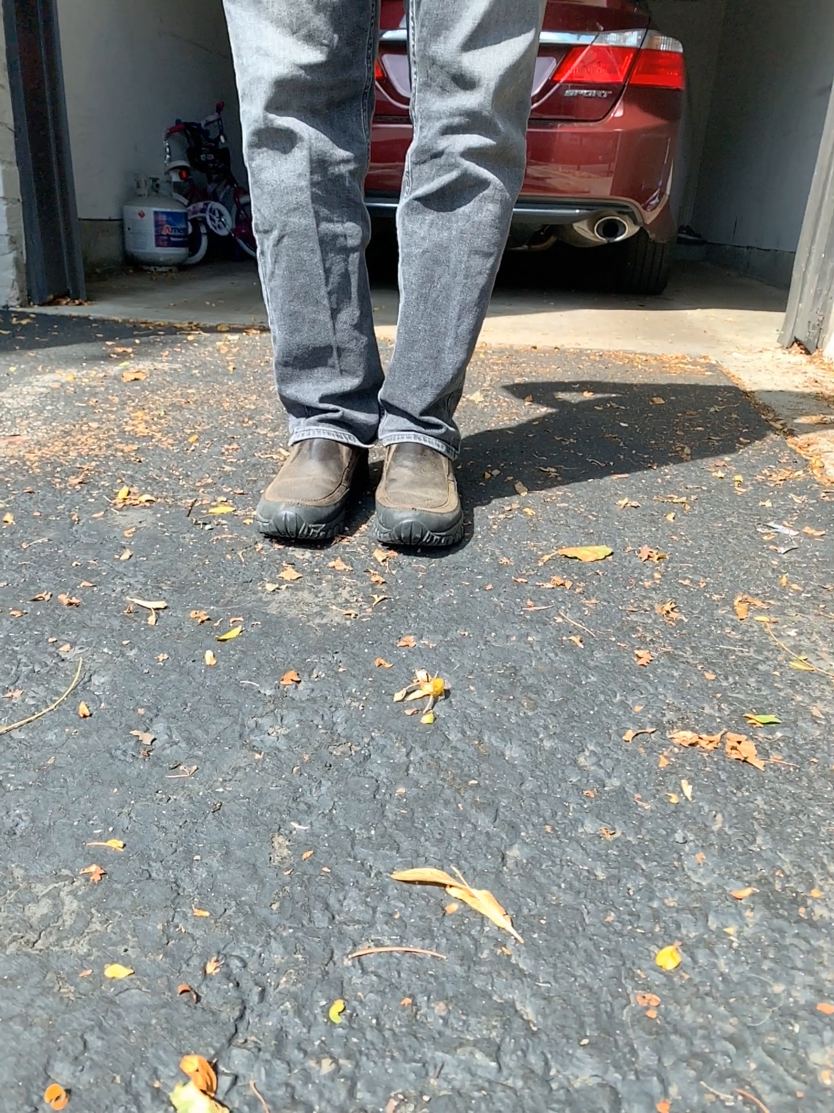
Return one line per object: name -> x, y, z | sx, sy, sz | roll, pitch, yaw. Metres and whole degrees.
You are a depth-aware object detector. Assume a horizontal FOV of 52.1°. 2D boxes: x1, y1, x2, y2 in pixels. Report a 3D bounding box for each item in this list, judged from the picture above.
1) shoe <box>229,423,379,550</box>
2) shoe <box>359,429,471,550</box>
shoe -> -0.134, -0.099, 1.102 | 0.110, 0.070, 0.291 | 6, 23, 8
shoe -> 0.005, -0.094, 1.089 | 0.110, 0.070, 0.291 | 5, 20, 5
